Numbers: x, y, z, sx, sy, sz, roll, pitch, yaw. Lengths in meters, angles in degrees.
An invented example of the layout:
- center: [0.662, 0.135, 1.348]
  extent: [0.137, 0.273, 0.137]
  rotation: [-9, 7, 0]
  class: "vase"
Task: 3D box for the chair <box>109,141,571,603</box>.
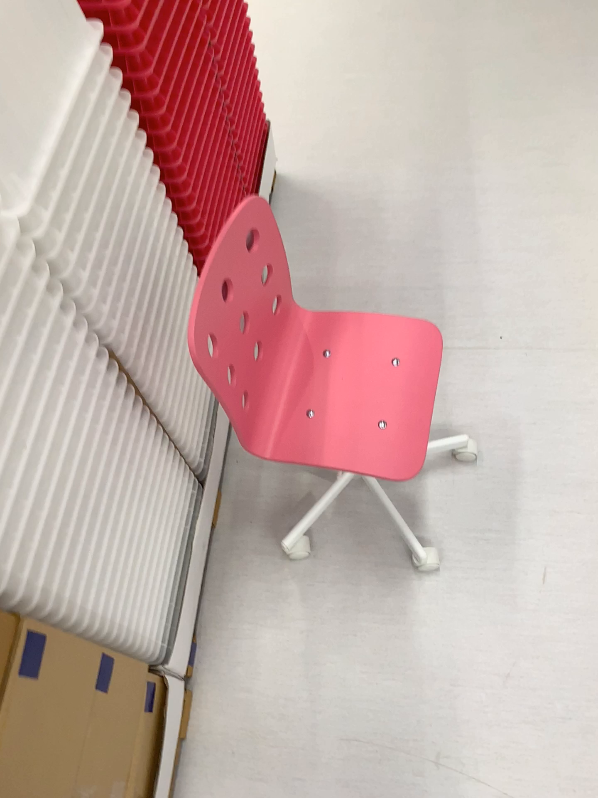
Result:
- center: [0.120, -0.007, 1.188]
  extent: [0.580, 0.708, 0.551]
  rotation: [7, 61, 11]
  class: "chair"
